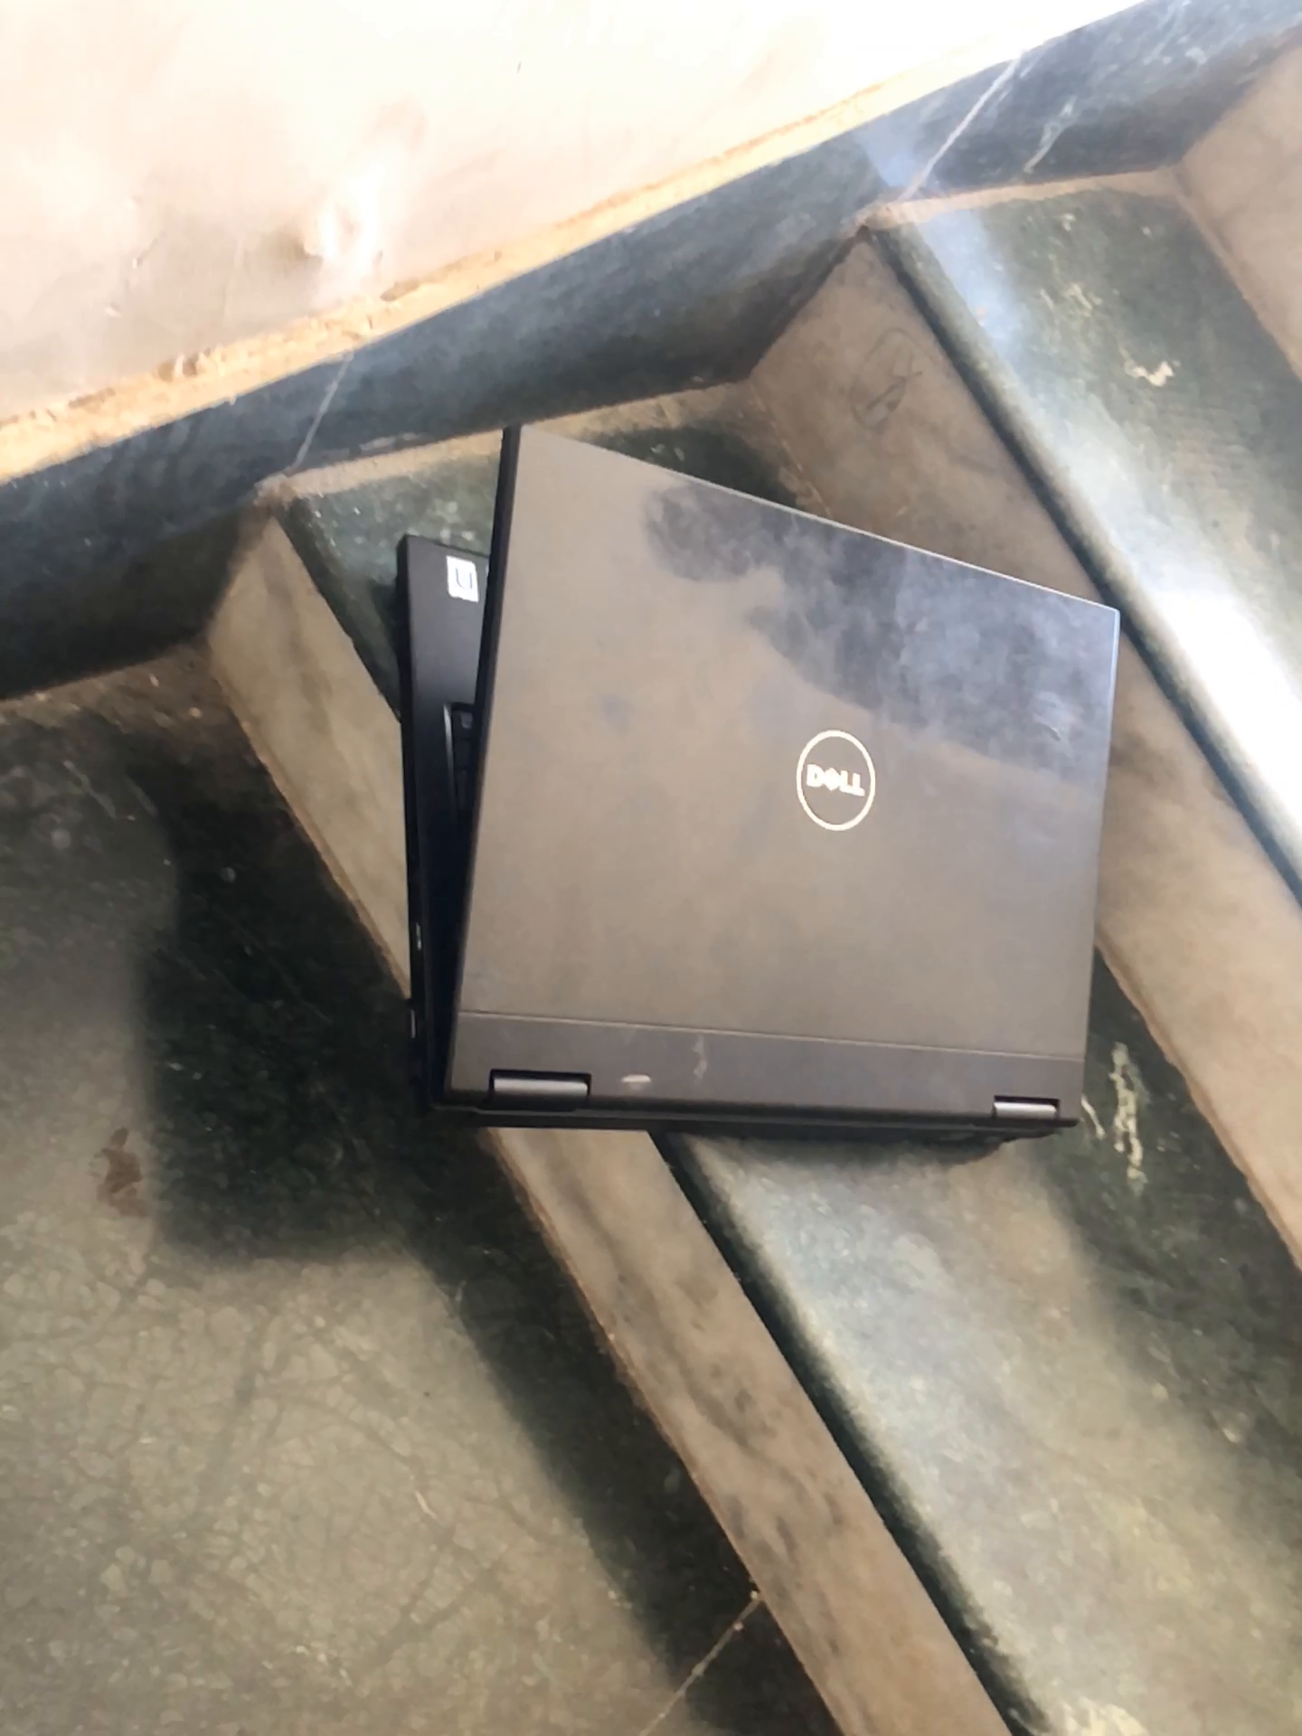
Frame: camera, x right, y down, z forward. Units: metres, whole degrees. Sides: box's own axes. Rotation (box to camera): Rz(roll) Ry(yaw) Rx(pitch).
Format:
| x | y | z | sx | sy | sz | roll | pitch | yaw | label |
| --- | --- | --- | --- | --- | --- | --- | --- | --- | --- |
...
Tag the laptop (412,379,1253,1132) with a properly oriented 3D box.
| x | y | z | sx | sy | sz | roll | pitch | yaw | label |
| --- | --- | --- | --- | --- | --- | --- | --- | --- | --- |
| 0.073 | -0.026 | 0.570 | 0.303 | 0.095 | 0.233 | 8 | 63 | -33 | laptop |
